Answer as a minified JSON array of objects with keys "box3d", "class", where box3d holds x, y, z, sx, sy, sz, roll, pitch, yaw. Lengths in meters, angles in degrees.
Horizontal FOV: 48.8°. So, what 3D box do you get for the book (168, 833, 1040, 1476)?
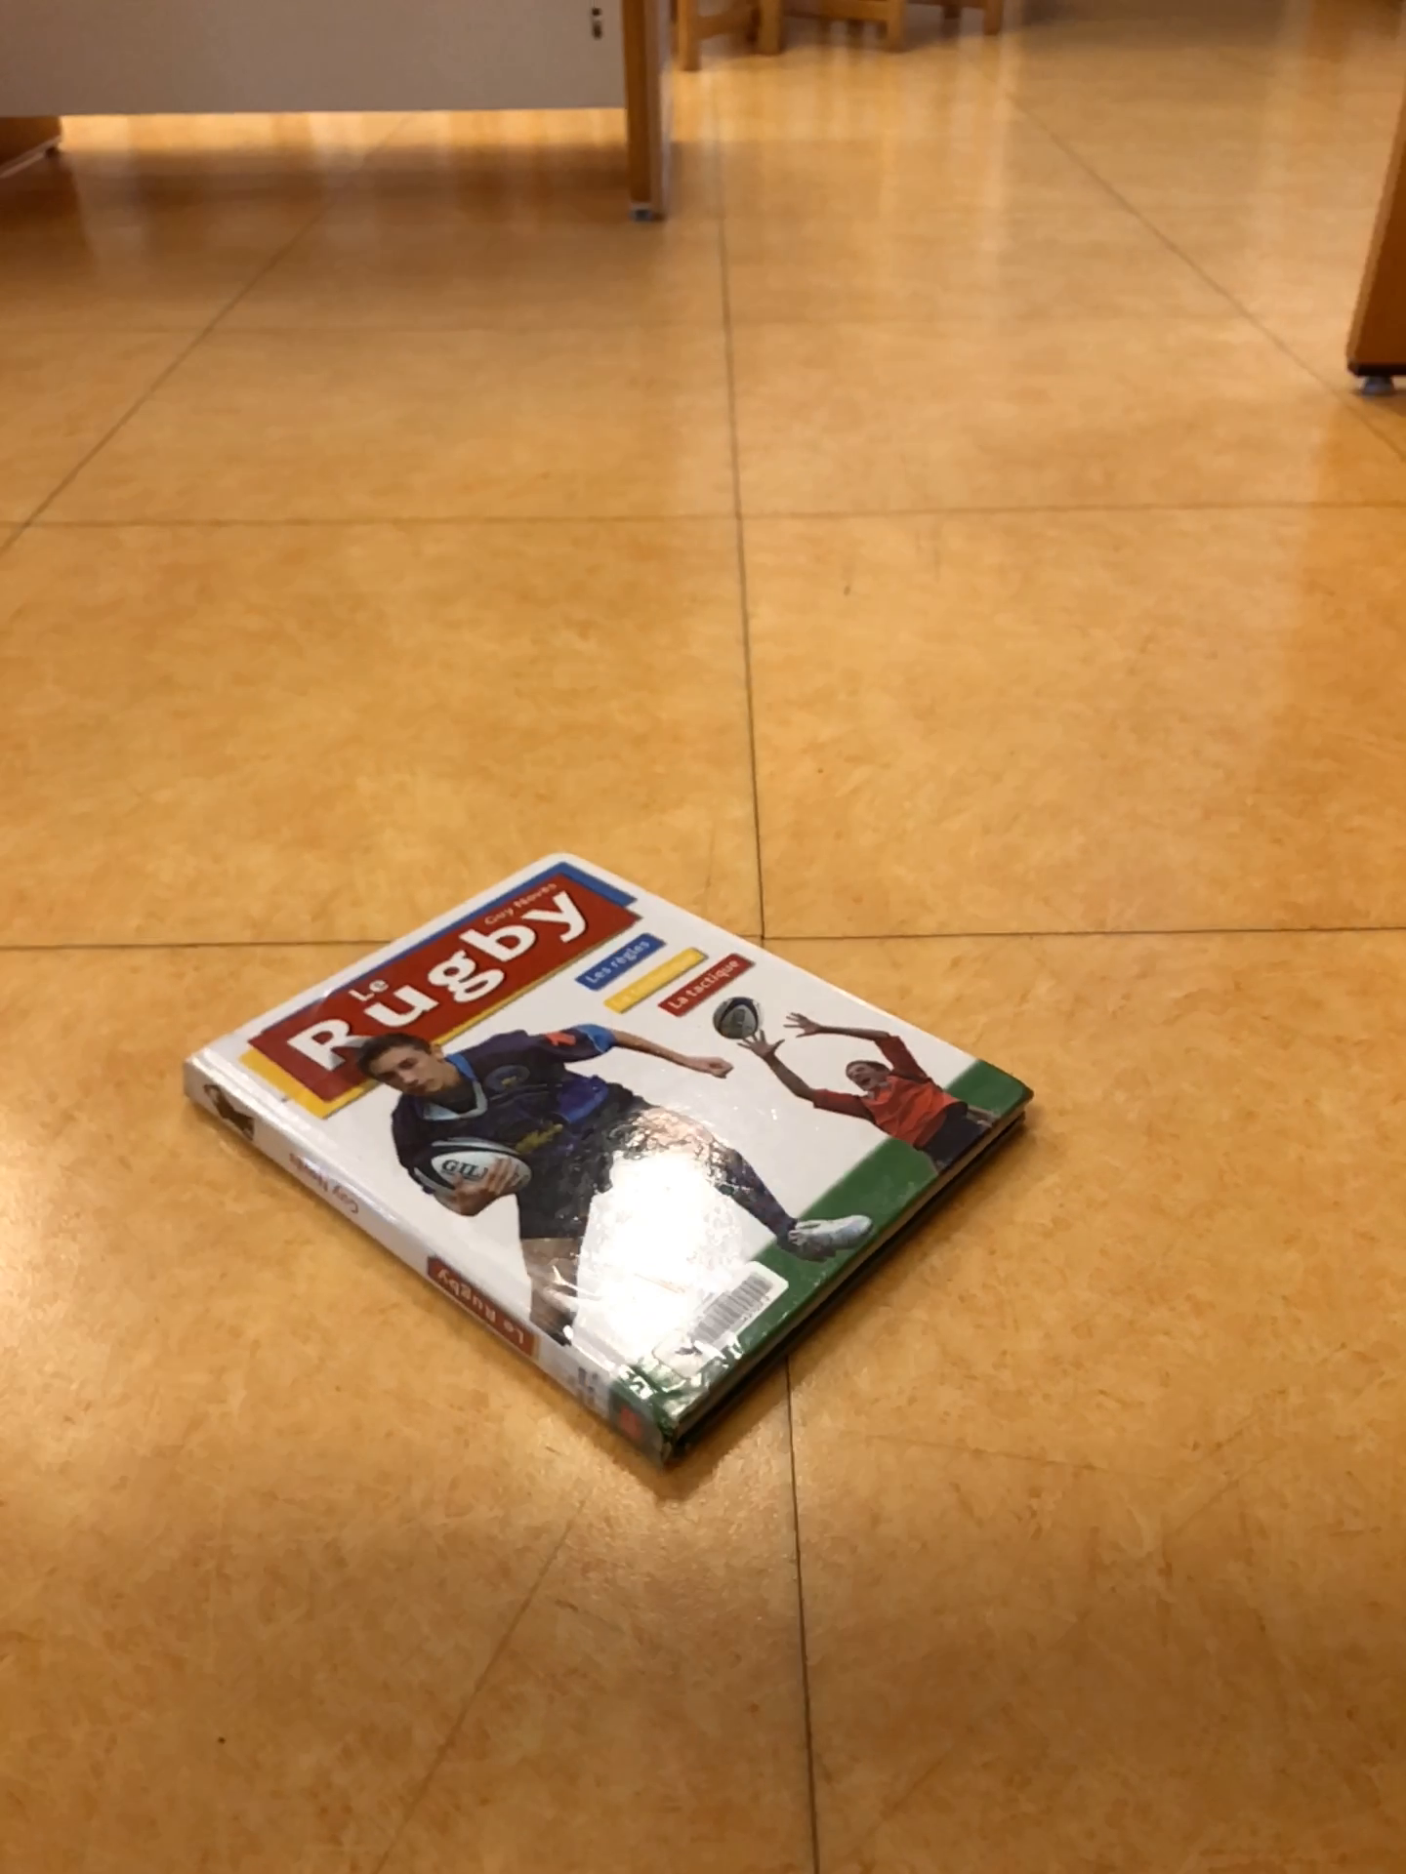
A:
[{"box3d":[-0.040,0.057,0.589,0.260,0.024,0.204,27,44,33],"class":"book"}]
